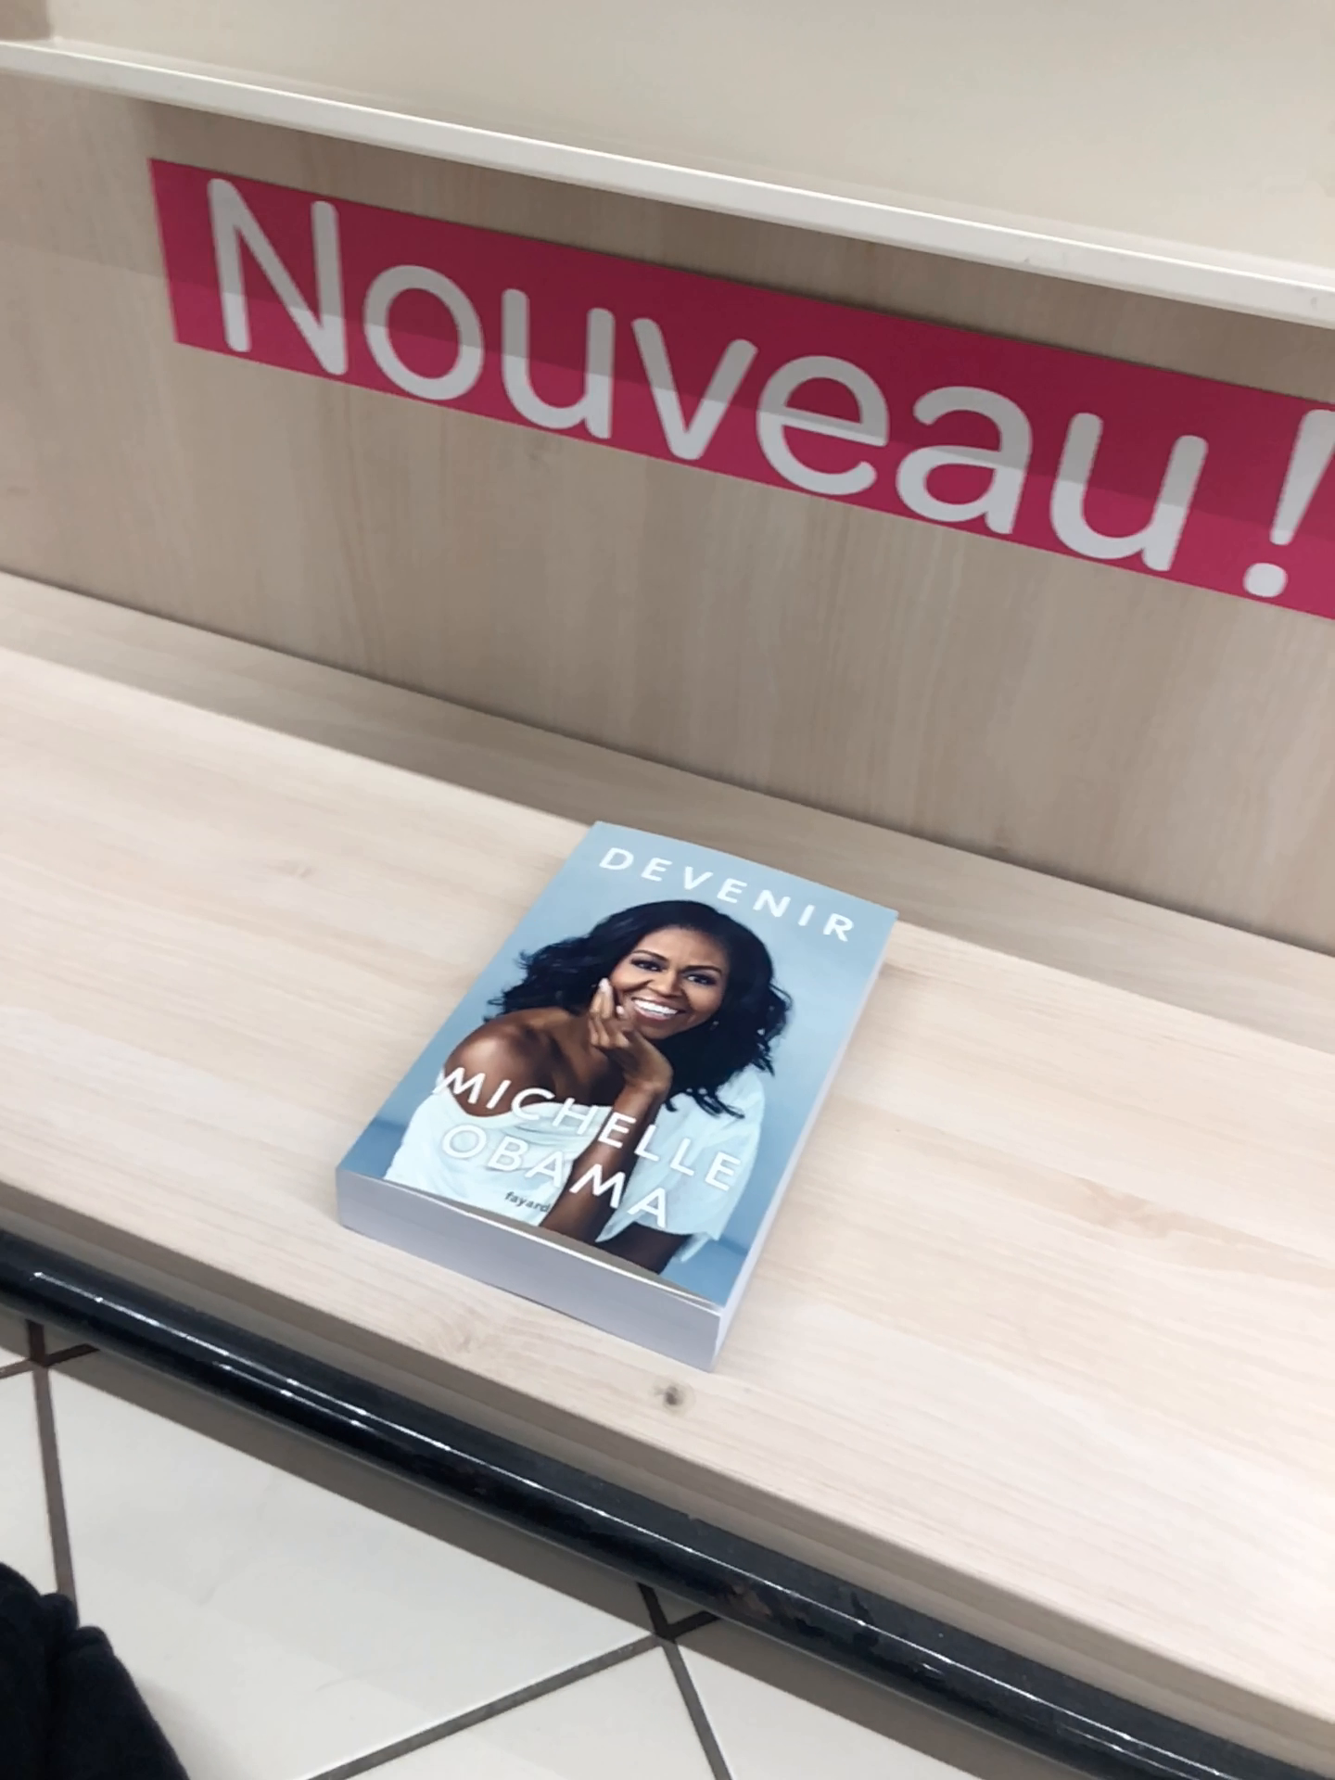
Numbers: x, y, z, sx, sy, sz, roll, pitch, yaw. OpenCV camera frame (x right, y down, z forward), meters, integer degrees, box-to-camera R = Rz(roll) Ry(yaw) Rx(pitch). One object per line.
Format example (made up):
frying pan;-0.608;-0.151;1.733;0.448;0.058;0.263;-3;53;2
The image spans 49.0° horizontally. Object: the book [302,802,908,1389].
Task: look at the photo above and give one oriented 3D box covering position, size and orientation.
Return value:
book;-0.013;0.067;0.611;0.163;0.040;0.242;18;42;14
